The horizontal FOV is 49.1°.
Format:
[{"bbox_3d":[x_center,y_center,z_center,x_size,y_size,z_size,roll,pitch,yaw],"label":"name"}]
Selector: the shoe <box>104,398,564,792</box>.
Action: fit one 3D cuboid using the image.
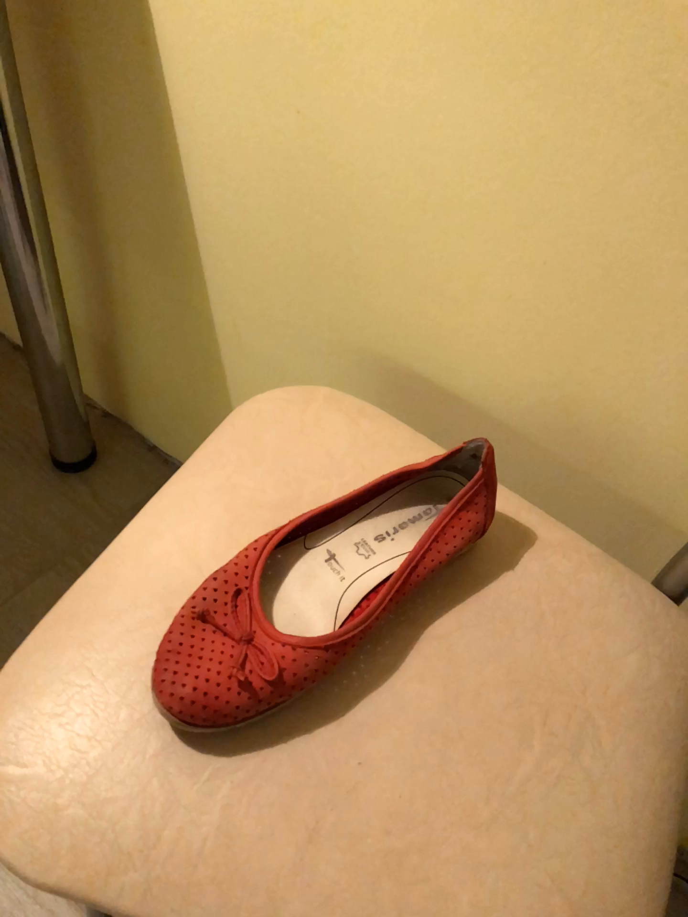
[{"bbox_3d":[0.001,0.067,0.451,0.251,0.080,0.100,-27,58,-29],"label":"shoe"}]
